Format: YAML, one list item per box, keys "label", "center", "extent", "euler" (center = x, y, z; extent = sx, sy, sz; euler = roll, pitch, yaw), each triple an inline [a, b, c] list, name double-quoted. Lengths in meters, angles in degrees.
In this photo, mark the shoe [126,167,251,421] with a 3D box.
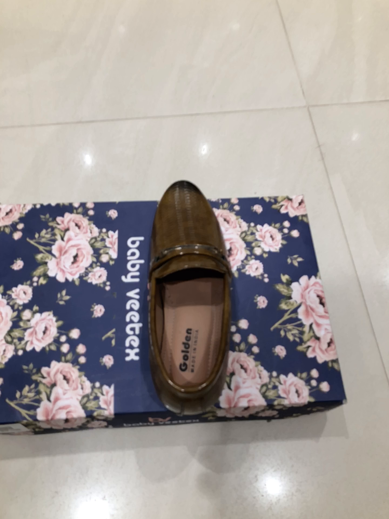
- label: "shoe"
  center: [-0.013, 0.029, 0.384]
  extent: [0.090, 0.080, 0.211]
  euler: [-3, 66, -4]
